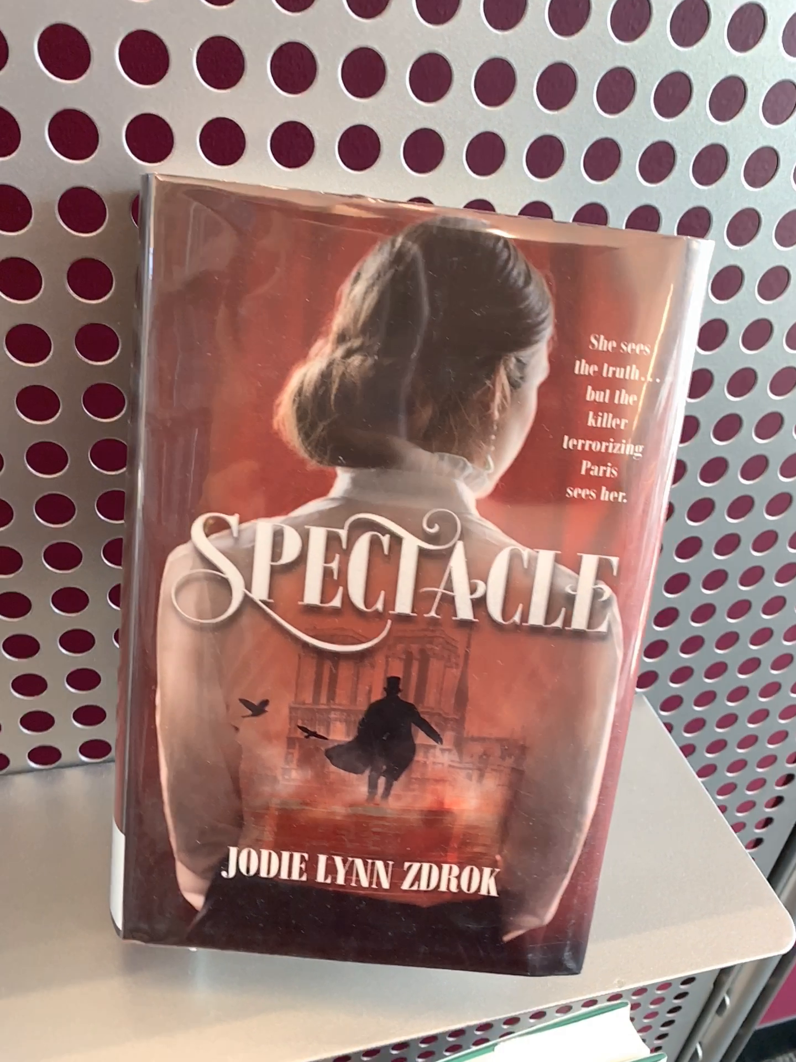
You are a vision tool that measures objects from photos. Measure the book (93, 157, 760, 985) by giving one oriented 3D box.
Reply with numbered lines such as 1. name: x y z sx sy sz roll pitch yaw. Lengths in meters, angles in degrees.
1. book: -0.002 0.016 0.244 0.153 0.212 0.059 5 14 0
